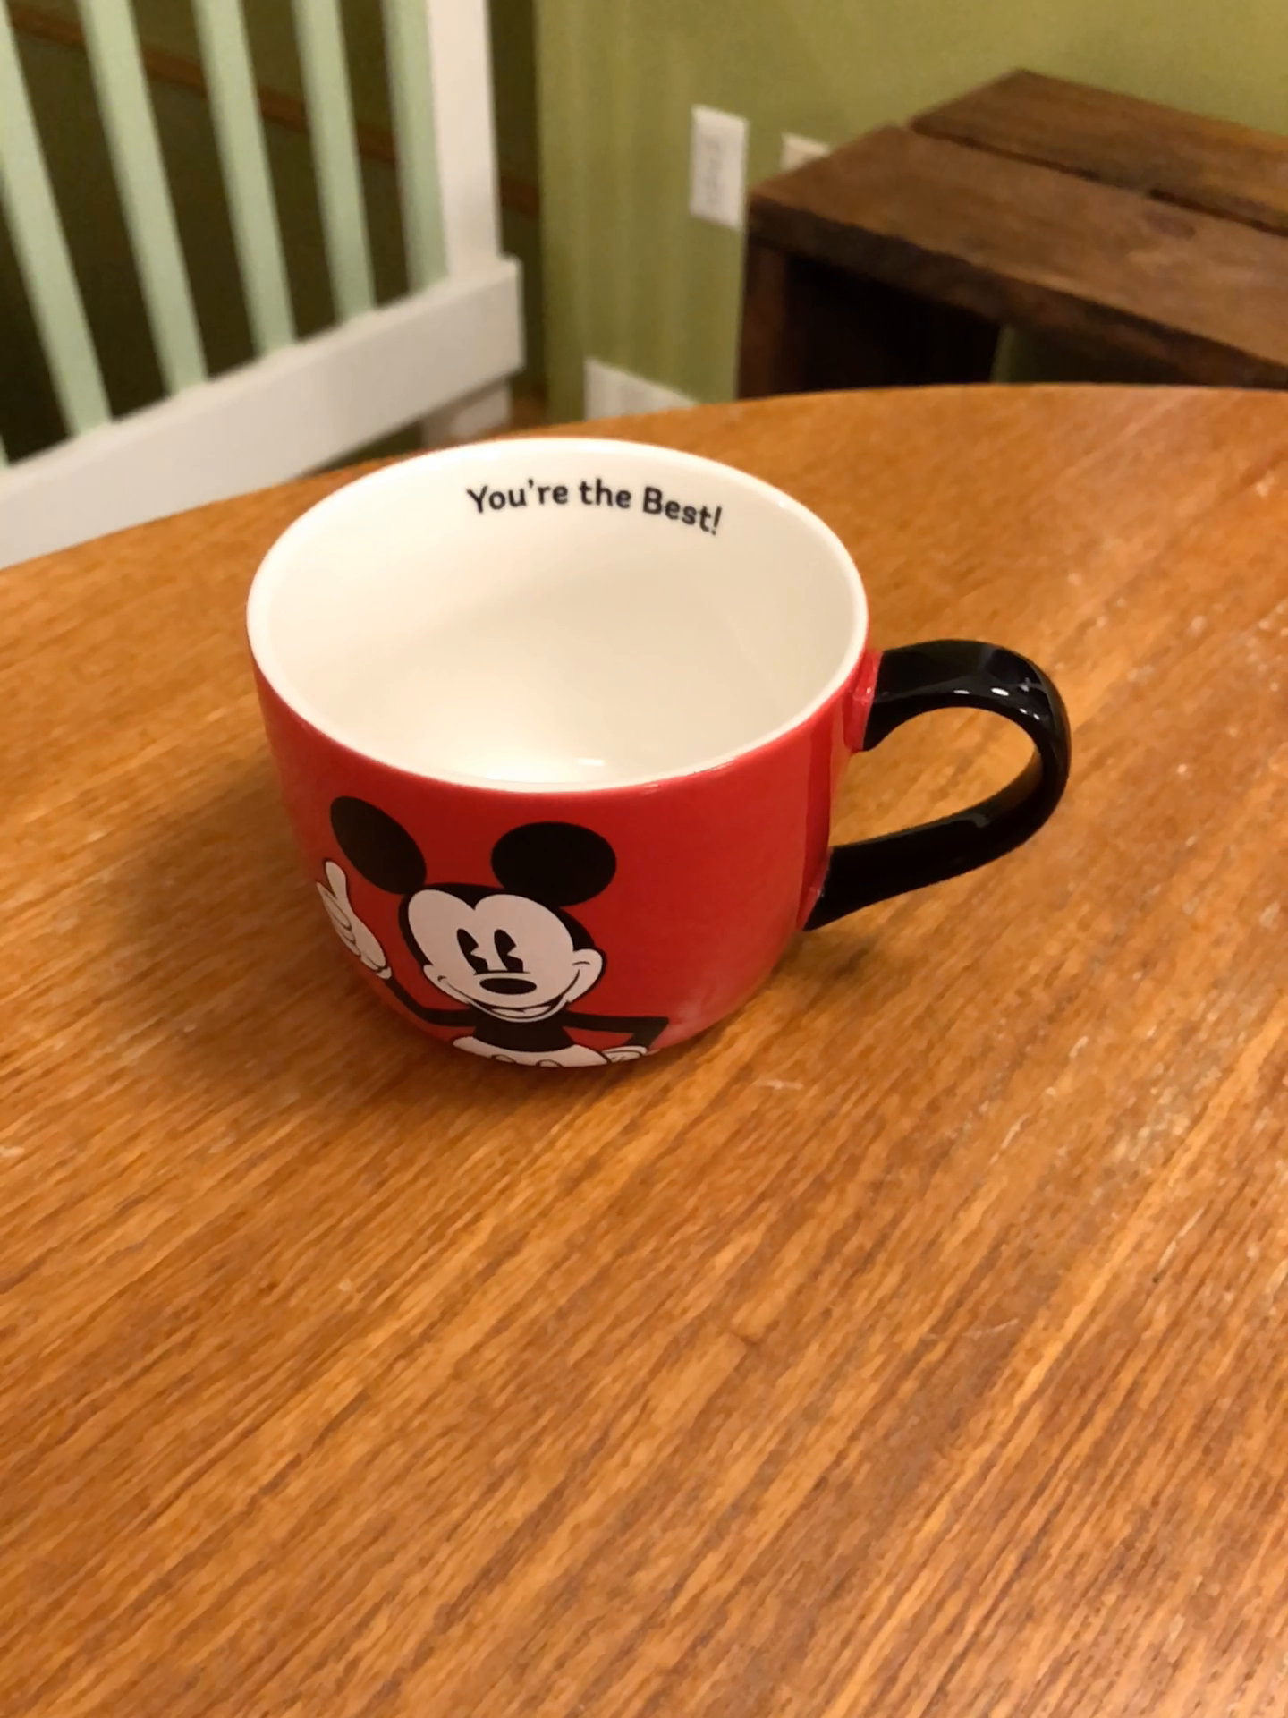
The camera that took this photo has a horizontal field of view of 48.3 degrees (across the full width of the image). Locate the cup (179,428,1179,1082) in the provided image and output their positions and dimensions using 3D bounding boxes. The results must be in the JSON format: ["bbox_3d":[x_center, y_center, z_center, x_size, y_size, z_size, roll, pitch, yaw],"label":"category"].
[{"bbox_3d":[0.004,-0.022,0.265,0.142,0.069,0.103,0,44,-1],"label":"cup"}]
